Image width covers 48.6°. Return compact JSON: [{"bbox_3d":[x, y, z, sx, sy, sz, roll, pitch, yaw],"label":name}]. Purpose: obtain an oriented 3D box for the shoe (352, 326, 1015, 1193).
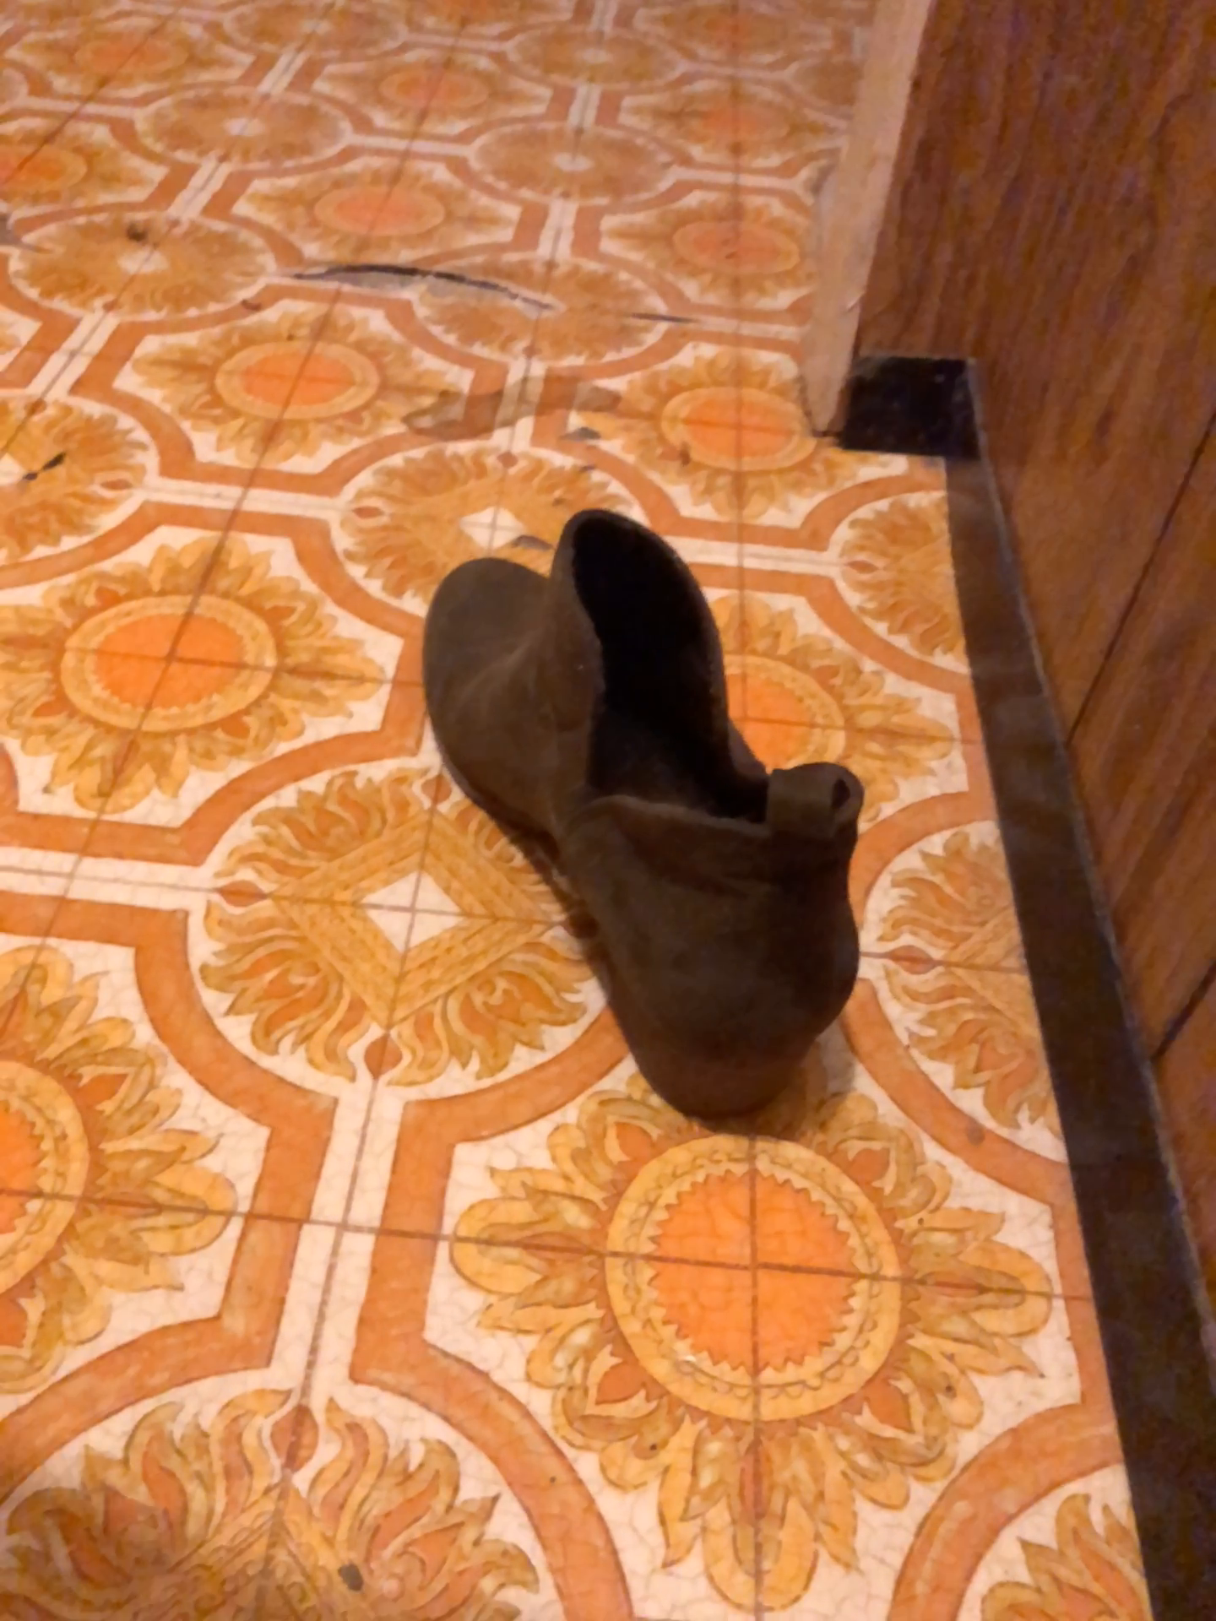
[{"bbox_3d":[0.000,-0.032,0.438,0.080,0.130,0.261,-16,50,-21],"label":"shoe"}]
